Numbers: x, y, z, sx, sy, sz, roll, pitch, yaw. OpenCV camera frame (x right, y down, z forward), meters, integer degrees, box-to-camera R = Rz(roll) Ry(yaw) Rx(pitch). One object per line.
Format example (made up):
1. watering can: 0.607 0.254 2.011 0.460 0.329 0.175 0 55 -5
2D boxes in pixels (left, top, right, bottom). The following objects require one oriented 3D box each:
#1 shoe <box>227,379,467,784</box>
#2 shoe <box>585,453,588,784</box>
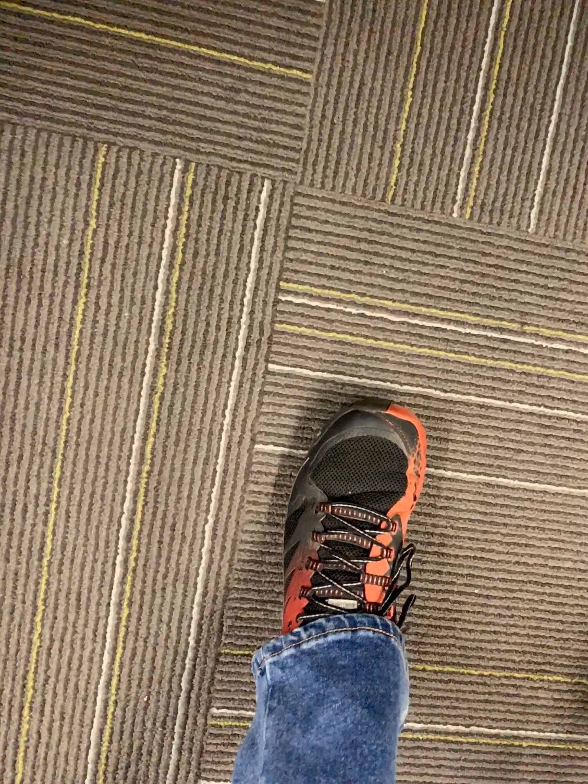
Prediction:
1. shoe: 0.045 0.153 0.511 0.132 0.090 0.305 11 96 11
2. shoe: 0.417 0.228 0.575 0.140 0.090 0.302 17 95 -21
